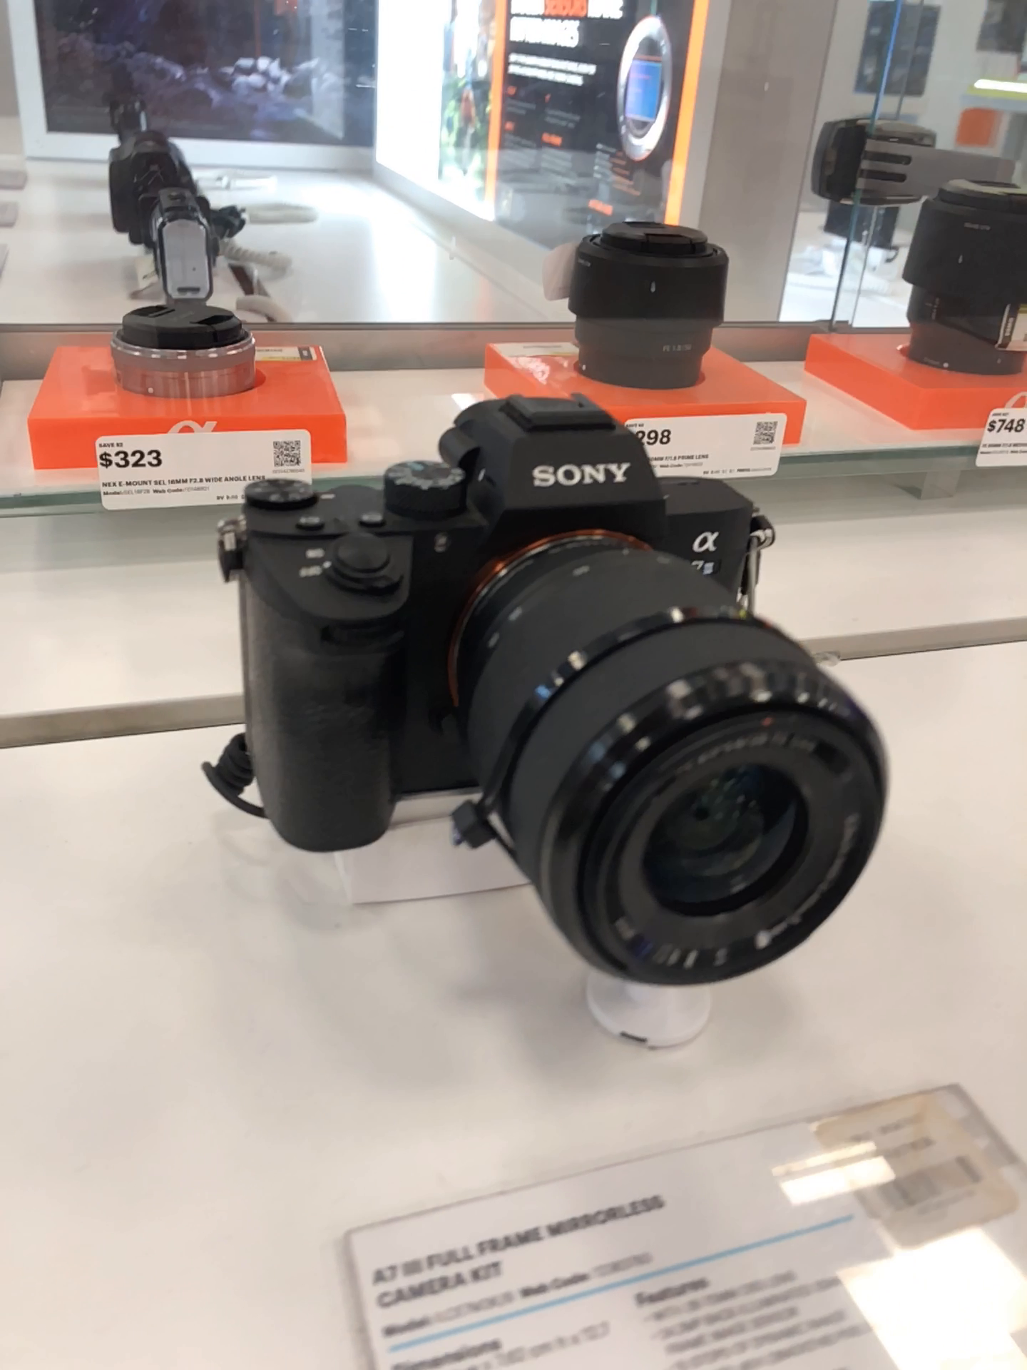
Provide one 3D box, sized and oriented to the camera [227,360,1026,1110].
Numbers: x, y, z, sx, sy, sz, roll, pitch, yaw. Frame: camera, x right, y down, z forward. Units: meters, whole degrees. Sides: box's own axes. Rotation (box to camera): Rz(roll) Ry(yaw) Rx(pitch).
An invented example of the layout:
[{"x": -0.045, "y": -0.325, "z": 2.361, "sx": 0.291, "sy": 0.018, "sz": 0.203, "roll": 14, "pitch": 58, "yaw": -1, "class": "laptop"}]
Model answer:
[{"x": 0.009, "y": -0.009, "z": 0.275, "sx": 0.130, "sy": 0.100, "sz": 0.161, "roll": -6, "pitch": 30, "yaw": -18, "class": "camera"}]
